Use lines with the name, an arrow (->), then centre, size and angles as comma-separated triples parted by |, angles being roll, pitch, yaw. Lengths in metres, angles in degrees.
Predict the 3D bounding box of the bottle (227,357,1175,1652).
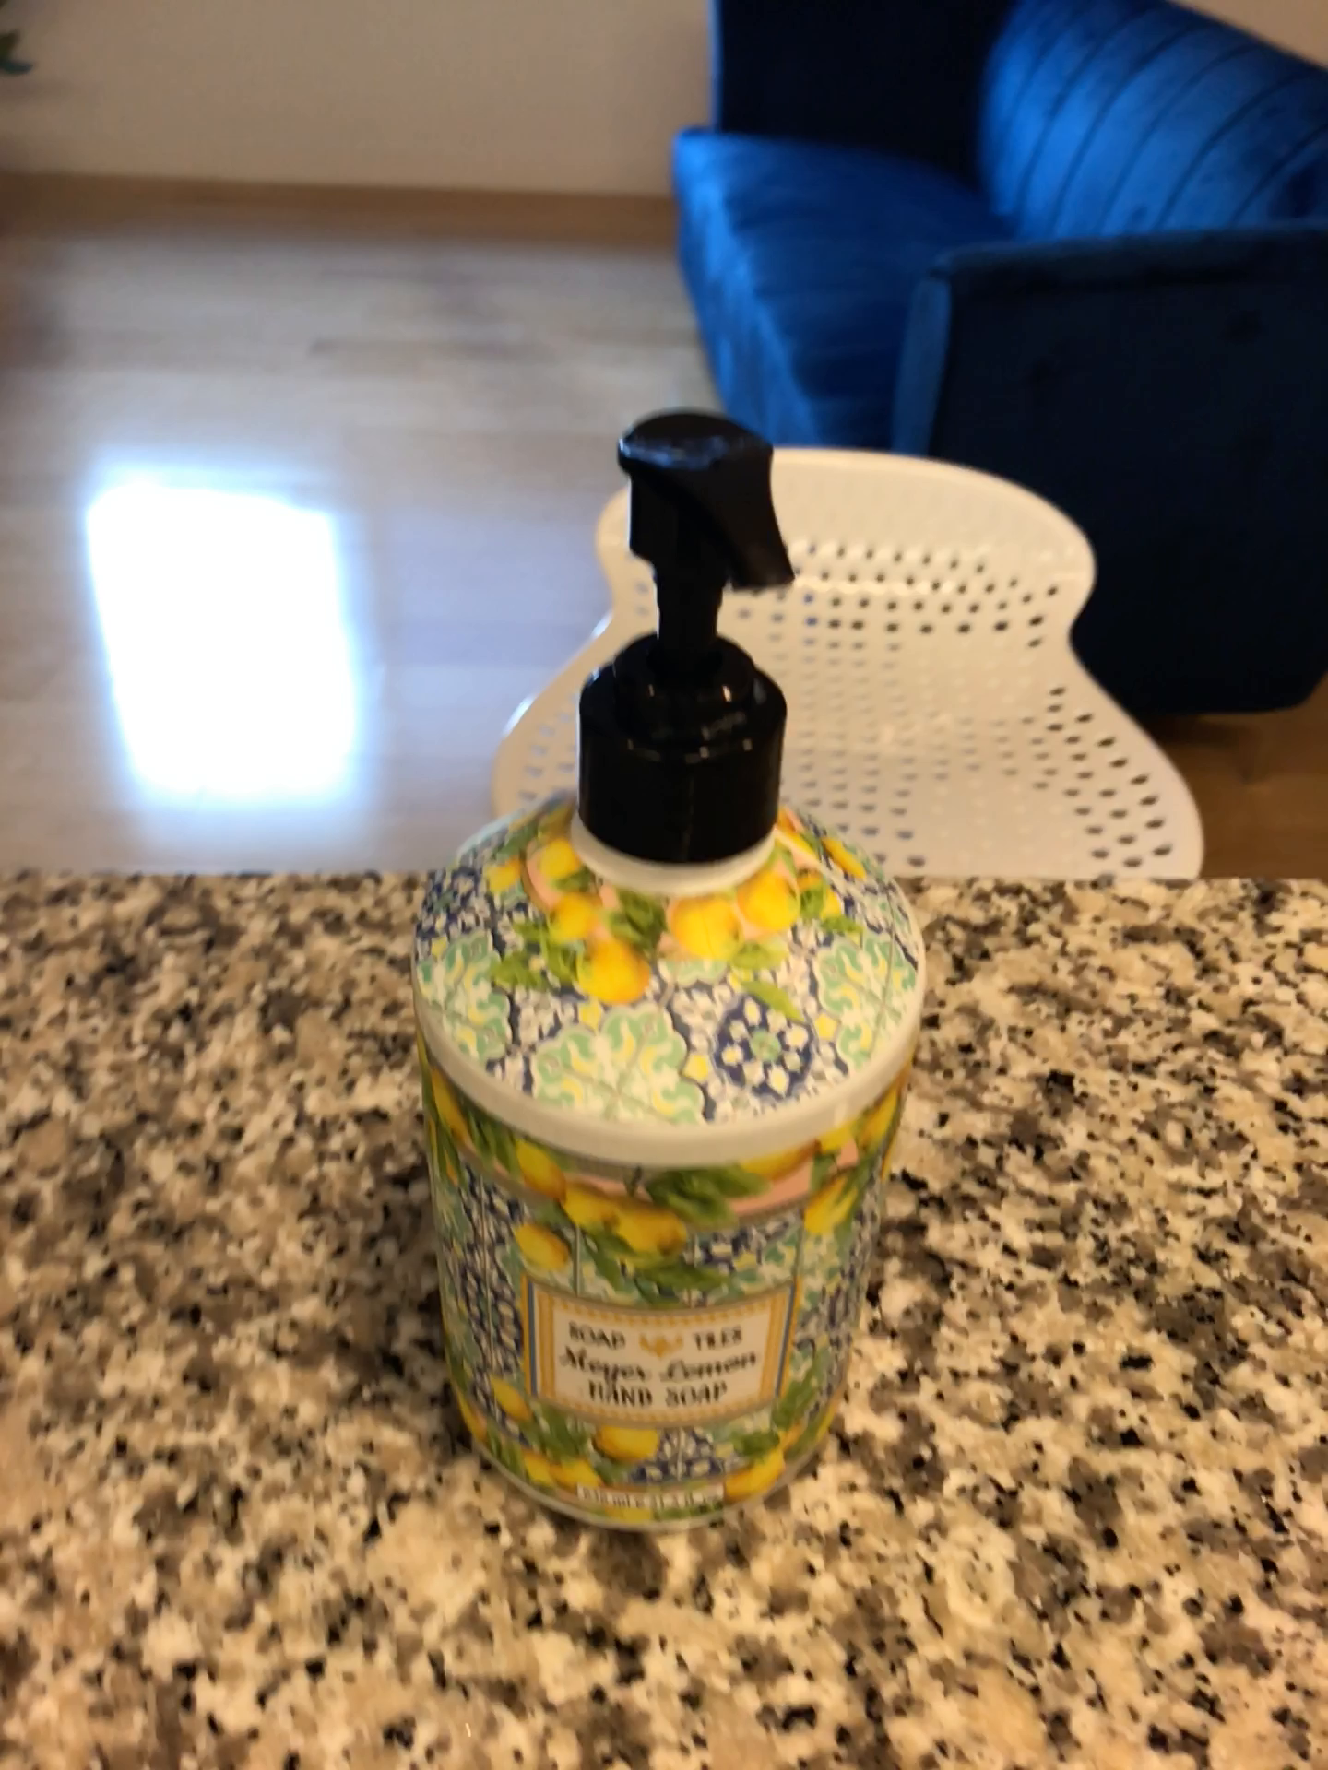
bottle -> -0.002, 0.028, 0.236 | 0.090, 0.189, 0.101 | -1, 39, -5
